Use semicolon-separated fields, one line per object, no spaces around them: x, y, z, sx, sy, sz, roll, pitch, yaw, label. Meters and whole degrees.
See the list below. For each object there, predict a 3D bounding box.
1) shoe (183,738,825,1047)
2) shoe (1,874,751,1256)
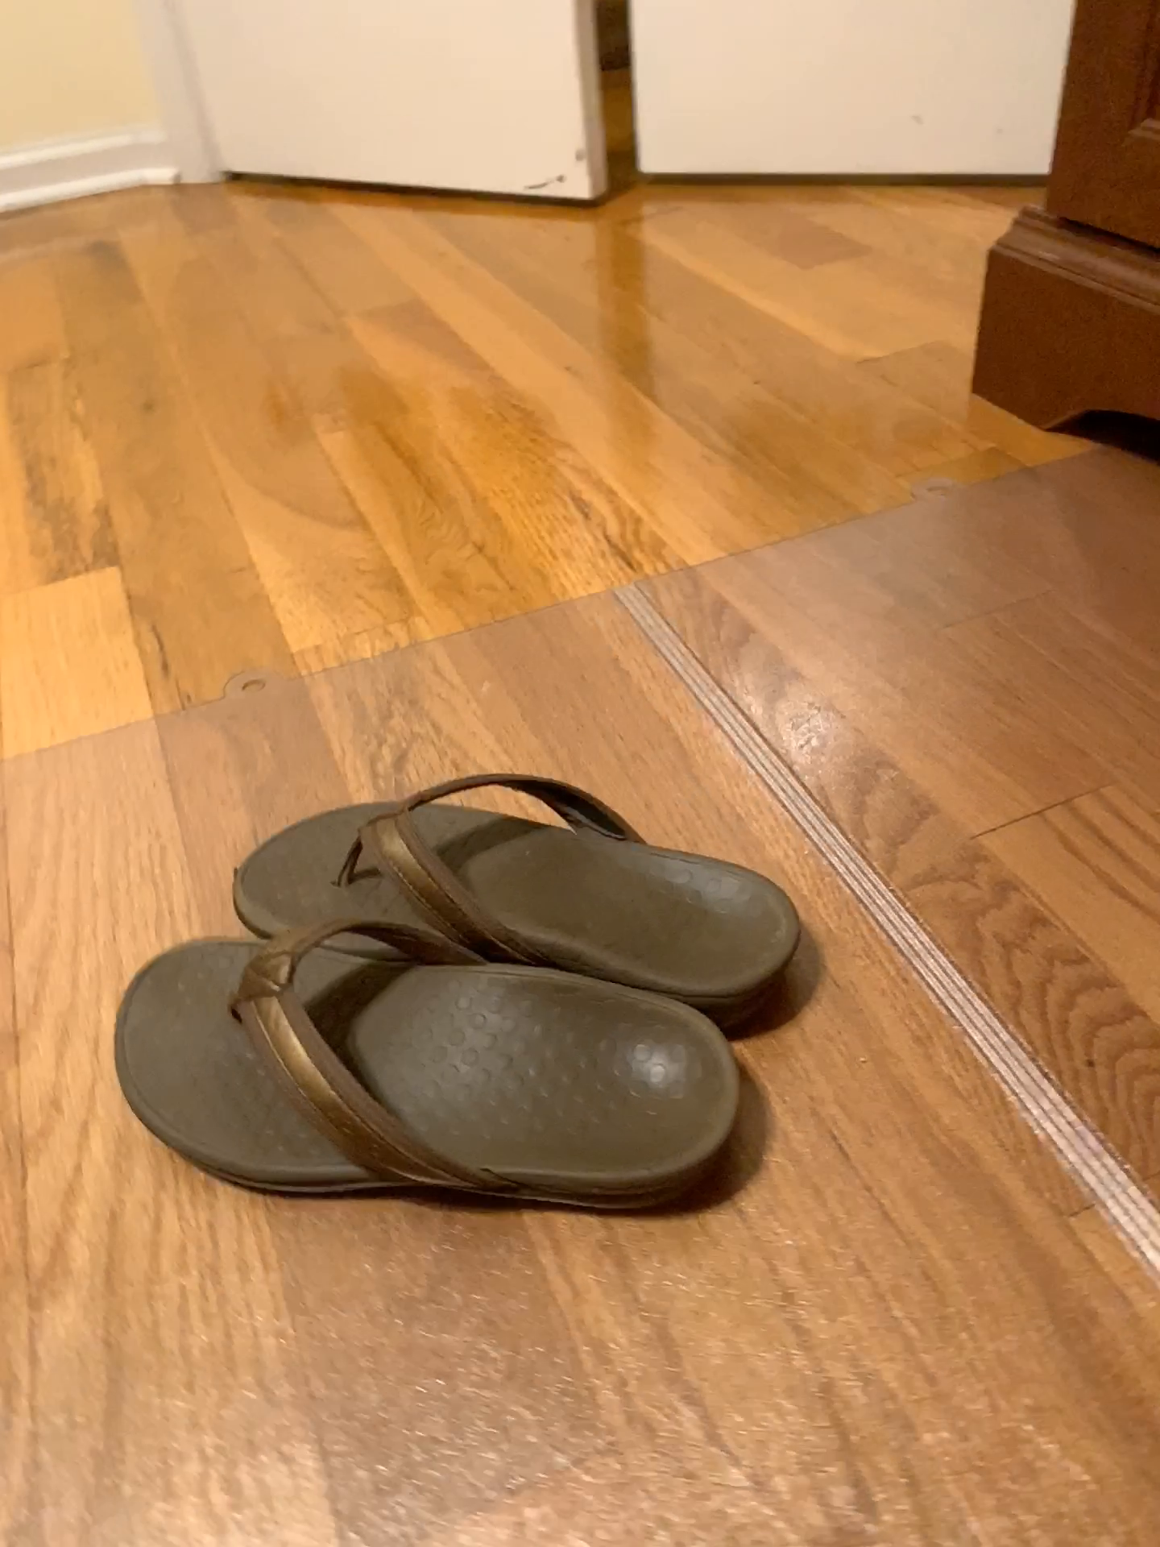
-0.029;0.044;0.507;0.250;0.049;0.092;6;41;15;shoe
-0.064;0.100;0.438;0.246;0.061;0.100;2;40;11;shoe
